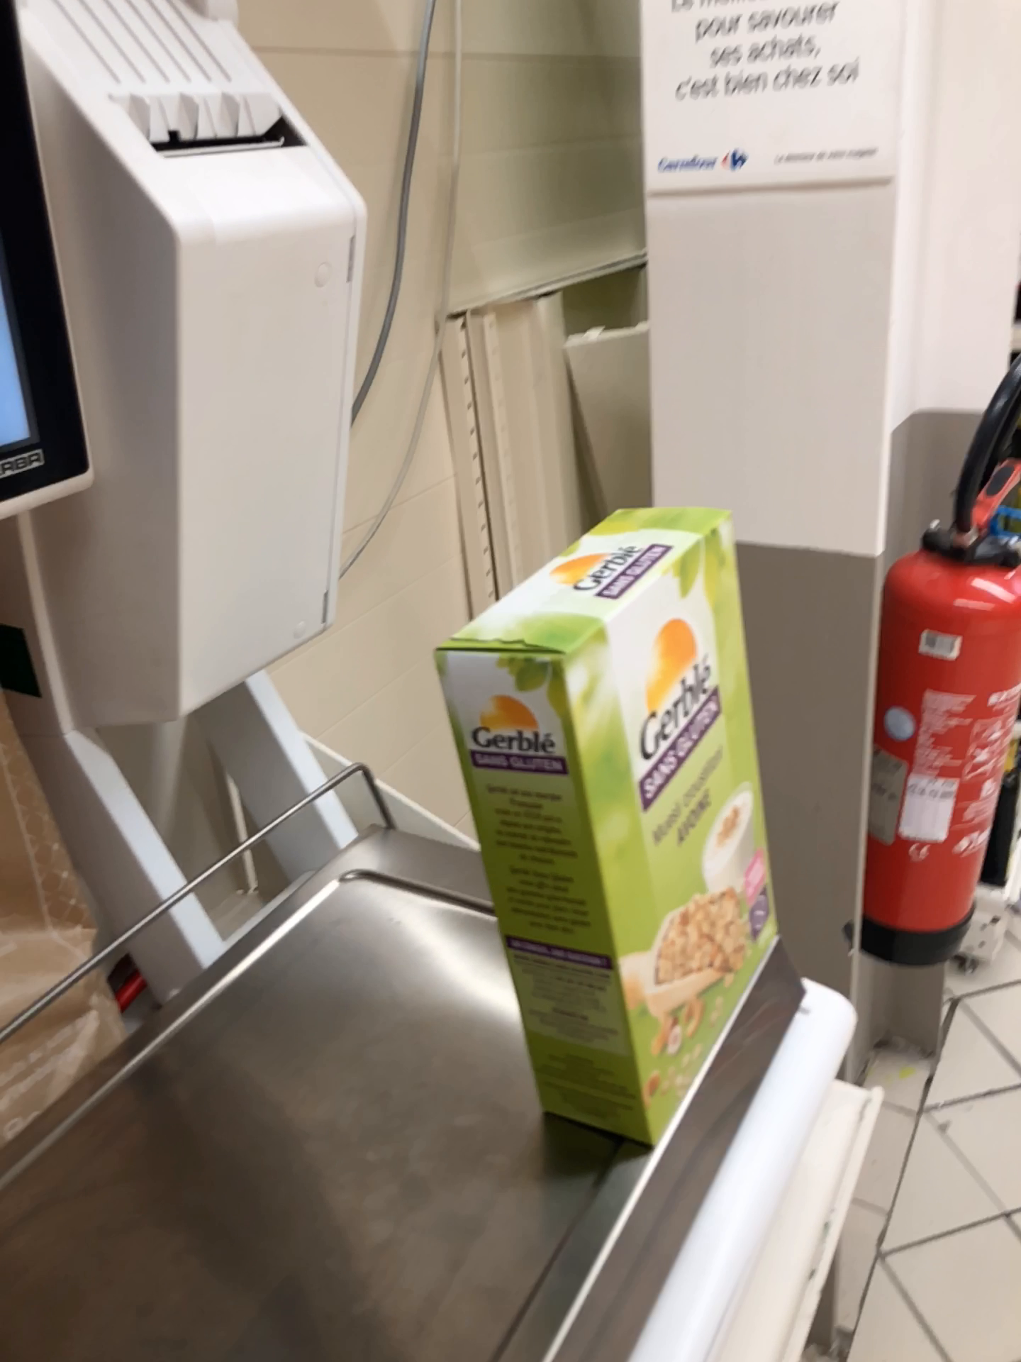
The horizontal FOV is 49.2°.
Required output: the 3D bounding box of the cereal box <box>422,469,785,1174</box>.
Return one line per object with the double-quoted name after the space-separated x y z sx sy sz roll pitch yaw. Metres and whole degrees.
0.052 0.050 0.448 0.050 0.229 0.151 5 29 32 "cereal box"
